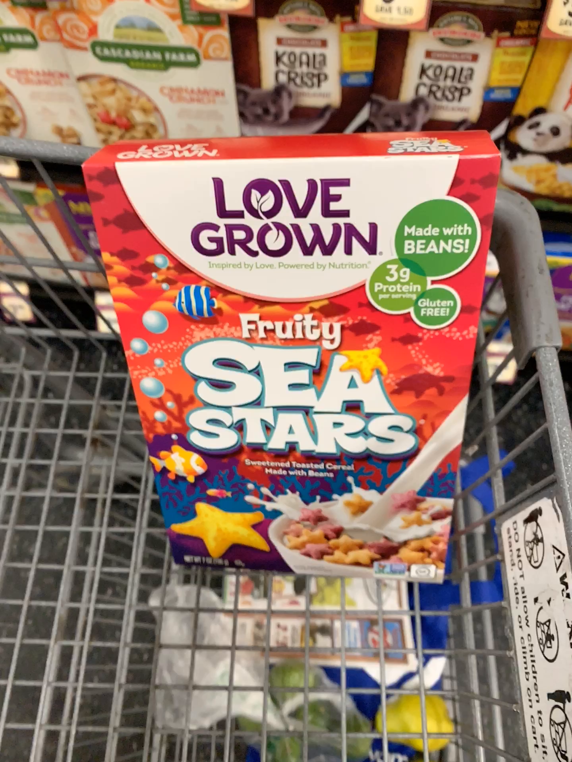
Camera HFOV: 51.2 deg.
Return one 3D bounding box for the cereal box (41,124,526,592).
[{"bbox_3d":[0.003,0.006,0.312,0.180,0.249,0.050,2,36,8],"label":"cereal box"}]
